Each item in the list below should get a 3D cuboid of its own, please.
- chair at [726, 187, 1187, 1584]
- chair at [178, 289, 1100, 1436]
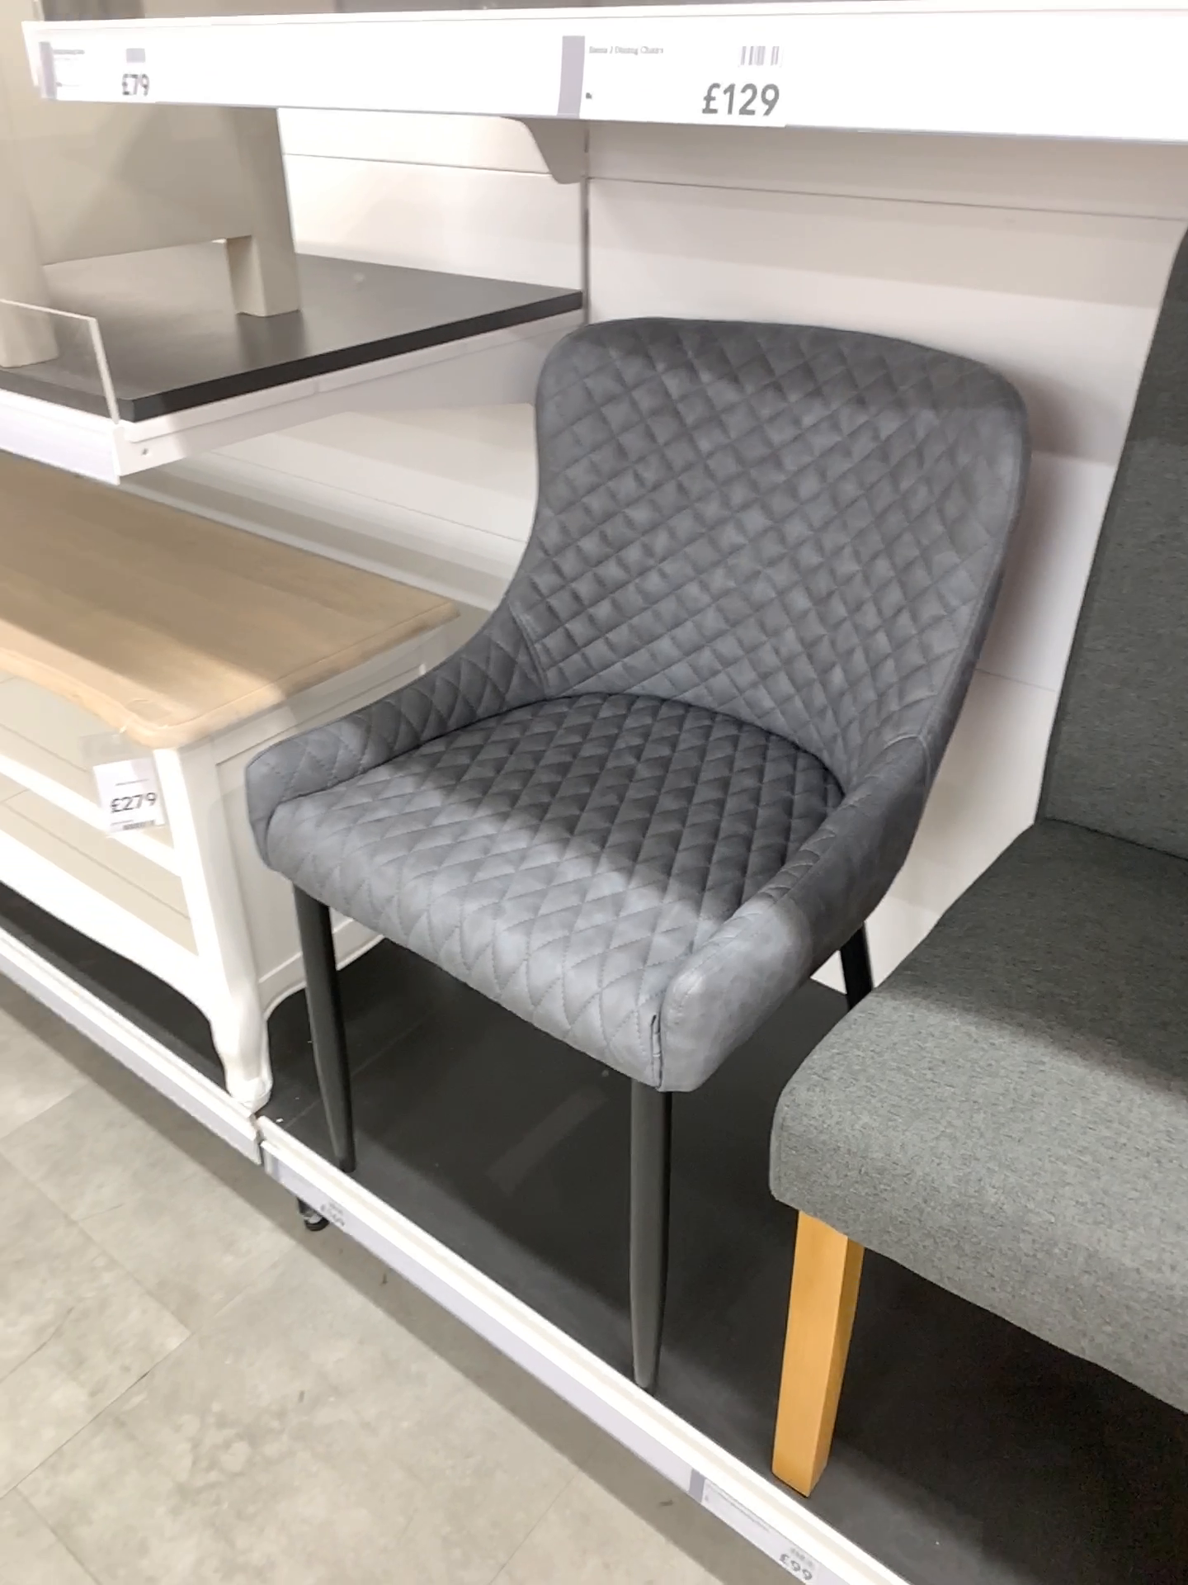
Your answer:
[{"bbox_3d":[0.449,0.118,0.851,0.432,0.911,0.563,22,37,32],"label":"chair"},{"bbox_3d":[0.057,0.015,1.134,0.482,0.792,0.543,22,38,32],"label":"chair"}]
